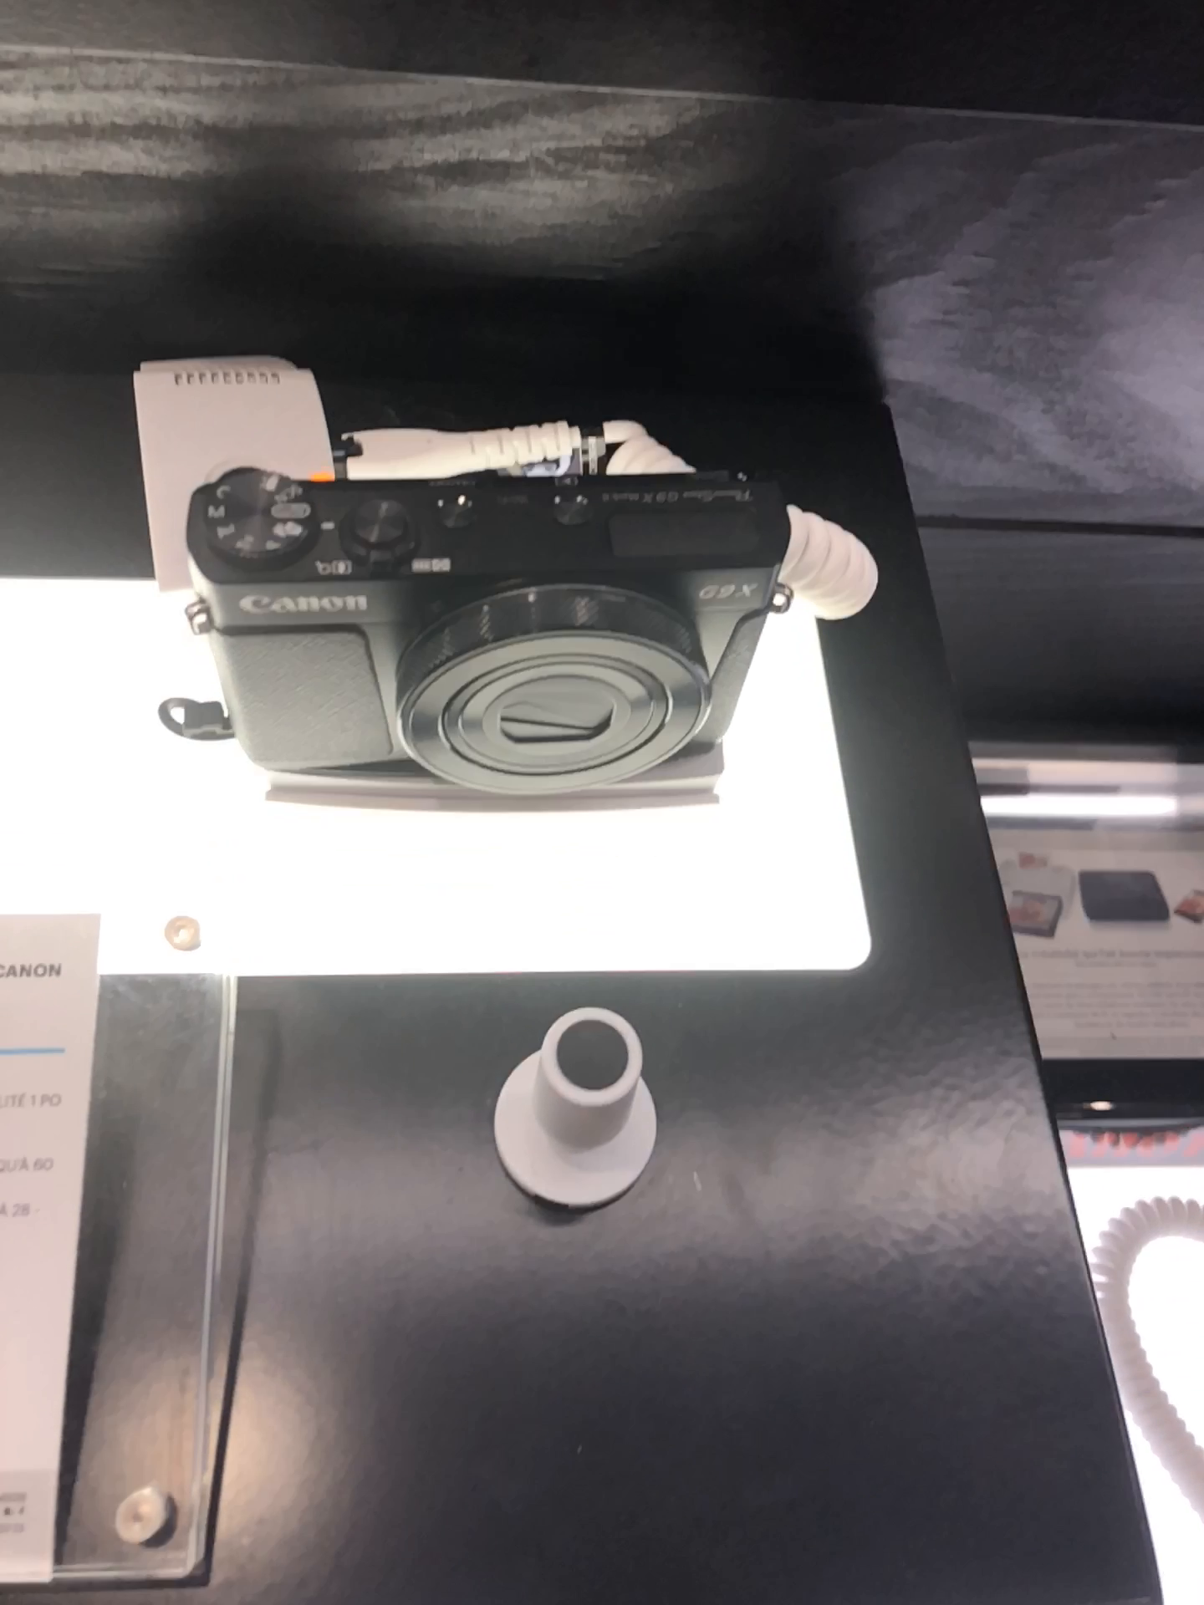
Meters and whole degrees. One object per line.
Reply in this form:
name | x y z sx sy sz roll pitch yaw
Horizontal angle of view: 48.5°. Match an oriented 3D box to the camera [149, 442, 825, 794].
camera | -0.020 -0.030 0.229 0.100 0.059 0.025 -3 58 -9
